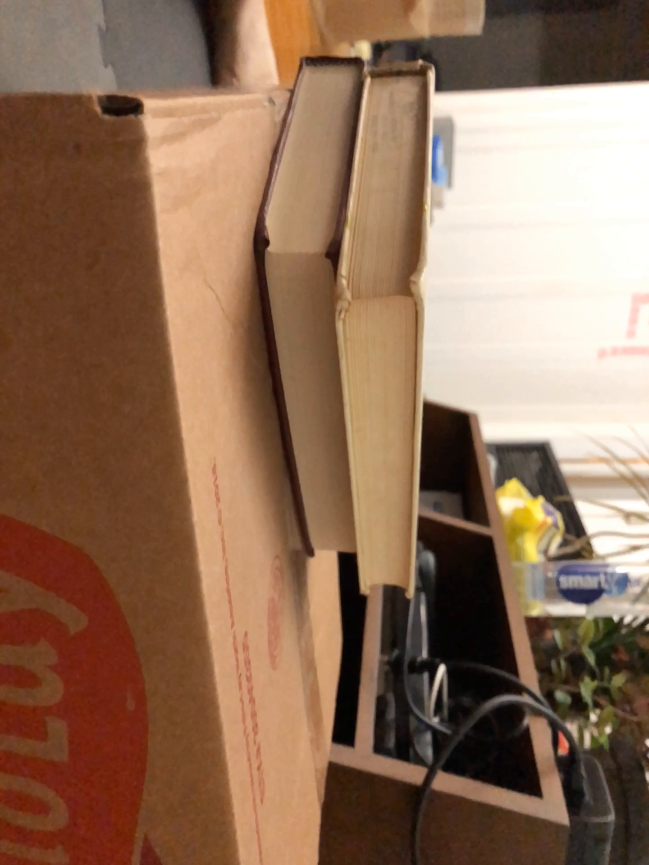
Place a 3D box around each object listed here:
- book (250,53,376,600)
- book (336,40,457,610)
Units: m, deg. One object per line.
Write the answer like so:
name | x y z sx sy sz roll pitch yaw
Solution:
book | 0.006 -0.047 0.412 0.250 0.040 0.180 86 7 -49
book | 0.037 -0.042 0.394 0.250 0.040 0.180 85 8 -51
